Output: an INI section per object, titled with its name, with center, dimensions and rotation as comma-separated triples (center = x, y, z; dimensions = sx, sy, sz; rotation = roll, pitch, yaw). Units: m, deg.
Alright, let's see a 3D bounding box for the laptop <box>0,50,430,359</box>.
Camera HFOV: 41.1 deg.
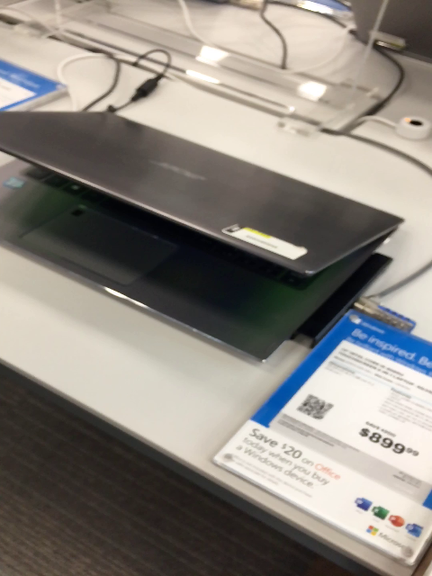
[laptop]
center = -0.047, -0.087, 0.487
dimensions = 0.338, 0.075, 0.197
rotation = 26, 53, 16
